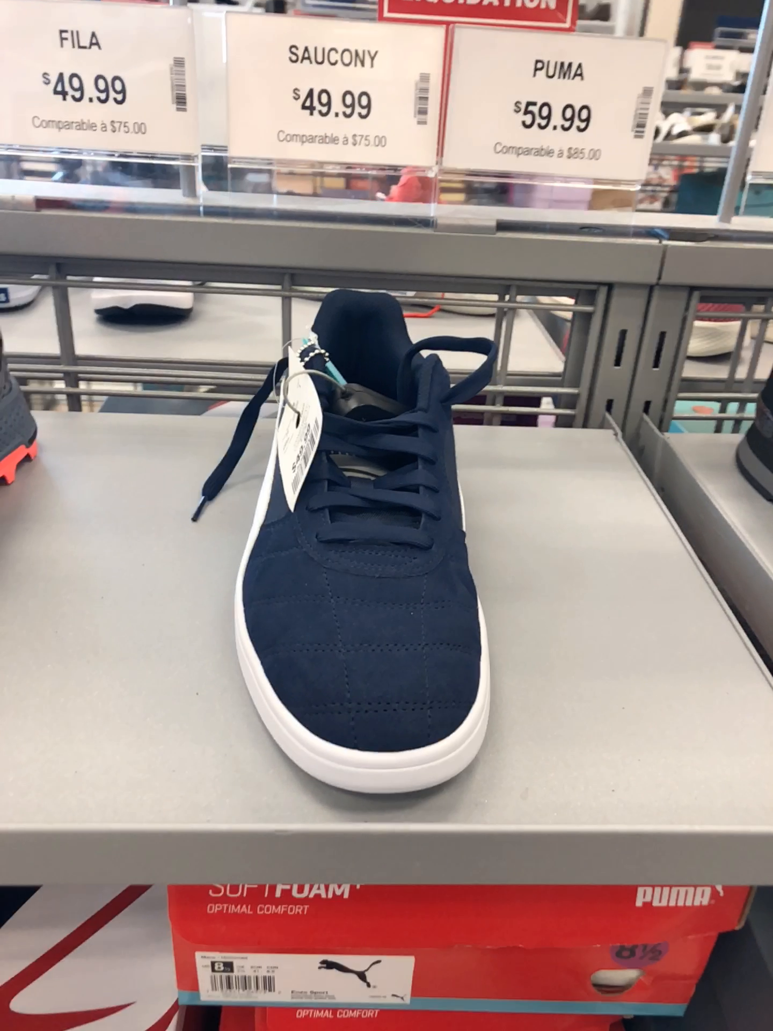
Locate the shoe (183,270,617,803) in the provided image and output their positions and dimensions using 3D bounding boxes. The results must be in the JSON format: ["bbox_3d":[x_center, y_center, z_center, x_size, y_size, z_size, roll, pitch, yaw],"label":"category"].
[{"bbox_3d":[-0.006,-0.014,0.366,0.119,0.119,0.242,1,29,-5],"label":"shoe"}]
